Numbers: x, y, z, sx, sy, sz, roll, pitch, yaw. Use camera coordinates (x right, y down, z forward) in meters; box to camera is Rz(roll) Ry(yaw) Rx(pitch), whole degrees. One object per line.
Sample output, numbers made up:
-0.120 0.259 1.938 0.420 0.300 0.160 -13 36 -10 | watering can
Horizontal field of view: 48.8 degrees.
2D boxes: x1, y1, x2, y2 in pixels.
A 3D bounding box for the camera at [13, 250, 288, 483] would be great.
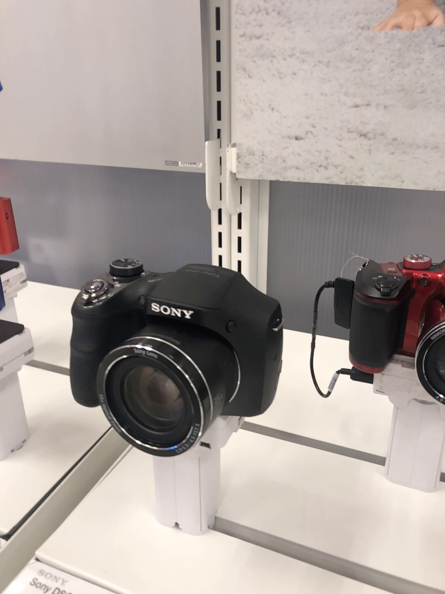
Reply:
-0.033 0.029 0.278 0.119 0.076 0.087 9 26 20 | camera
